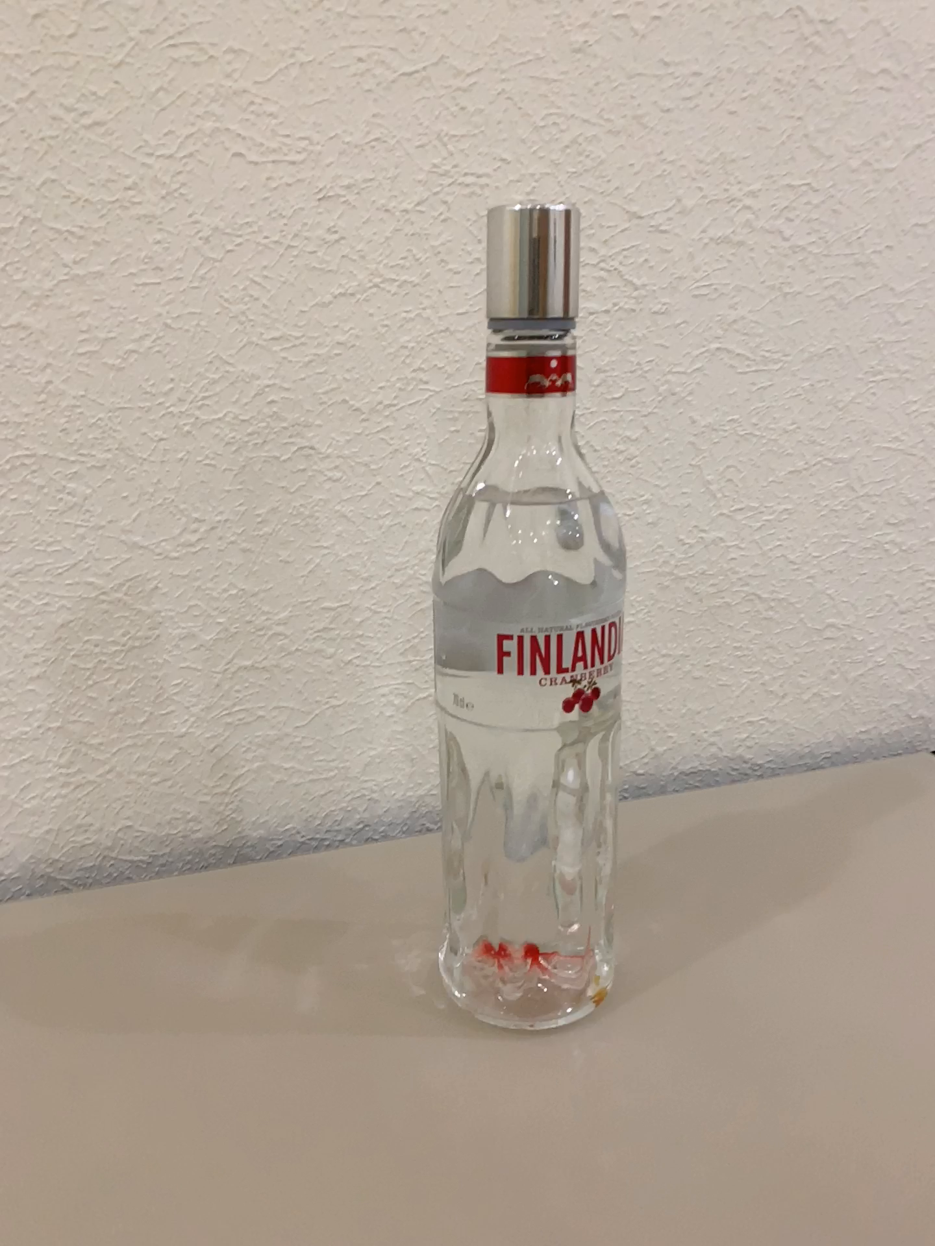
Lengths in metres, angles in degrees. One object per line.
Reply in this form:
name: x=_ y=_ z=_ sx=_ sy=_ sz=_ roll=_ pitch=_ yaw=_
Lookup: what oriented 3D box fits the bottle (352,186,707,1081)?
bottle: x=0.019 y=0.006 z=0.377 sx=0.090 sy=0.309 sz=0.090 roll=-1 pitch=16 yaw=0
